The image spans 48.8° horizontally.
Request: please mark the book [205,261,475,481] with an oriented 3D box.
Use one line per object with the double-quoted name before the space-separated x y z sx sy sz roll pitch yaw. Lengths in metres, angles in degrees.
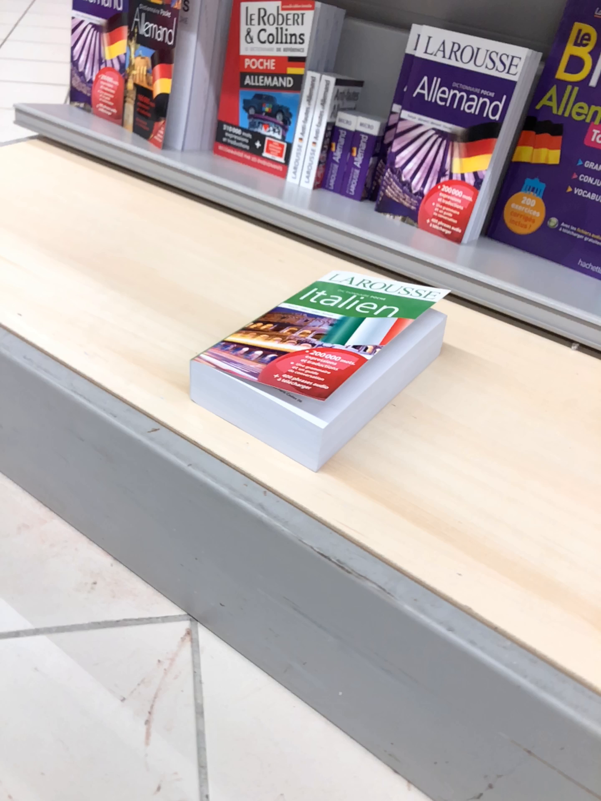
"book" 0.034 -0.033 0.476 0.106 0.045 0.185 28 42 24
